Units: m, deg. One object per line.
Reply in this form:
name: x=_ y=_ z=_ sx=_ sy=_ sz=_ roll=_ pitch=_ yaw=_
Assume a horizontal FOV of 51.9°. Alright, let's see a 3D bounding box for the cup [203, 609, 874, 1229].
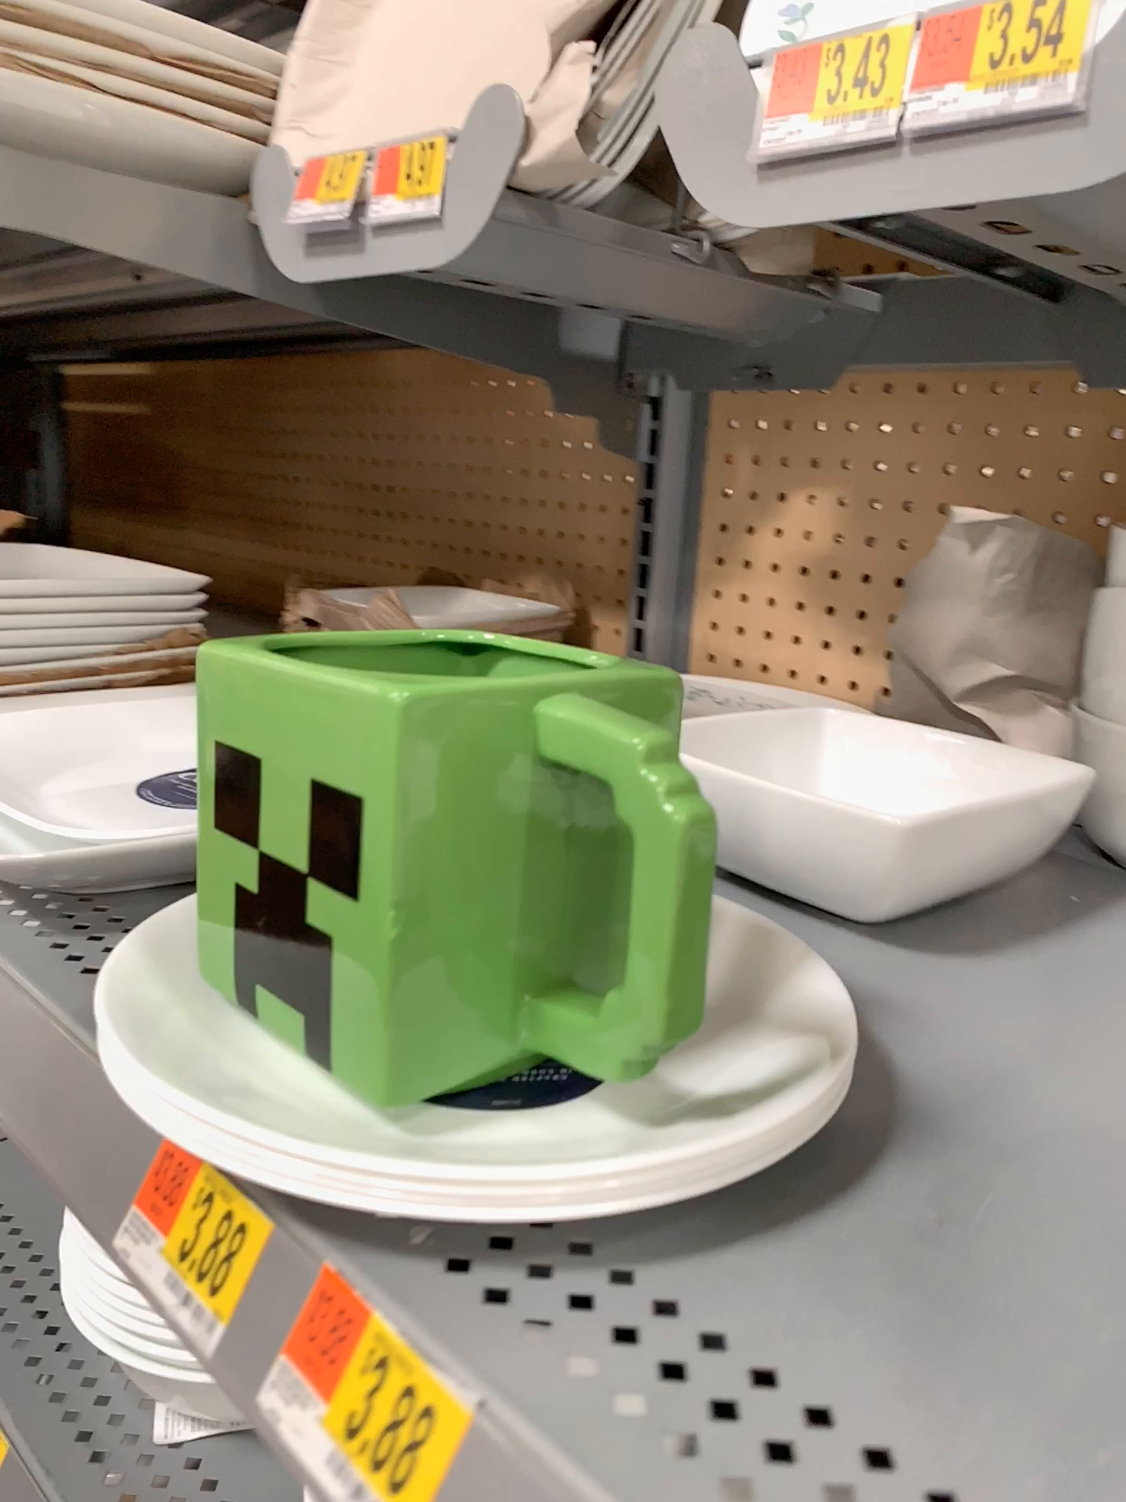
cup: x=-0.014 y=0.025 z=0.309 sx=0.105 sy=0.104 sz=0.142 roll=-8 pitch=18 yaw=-42
